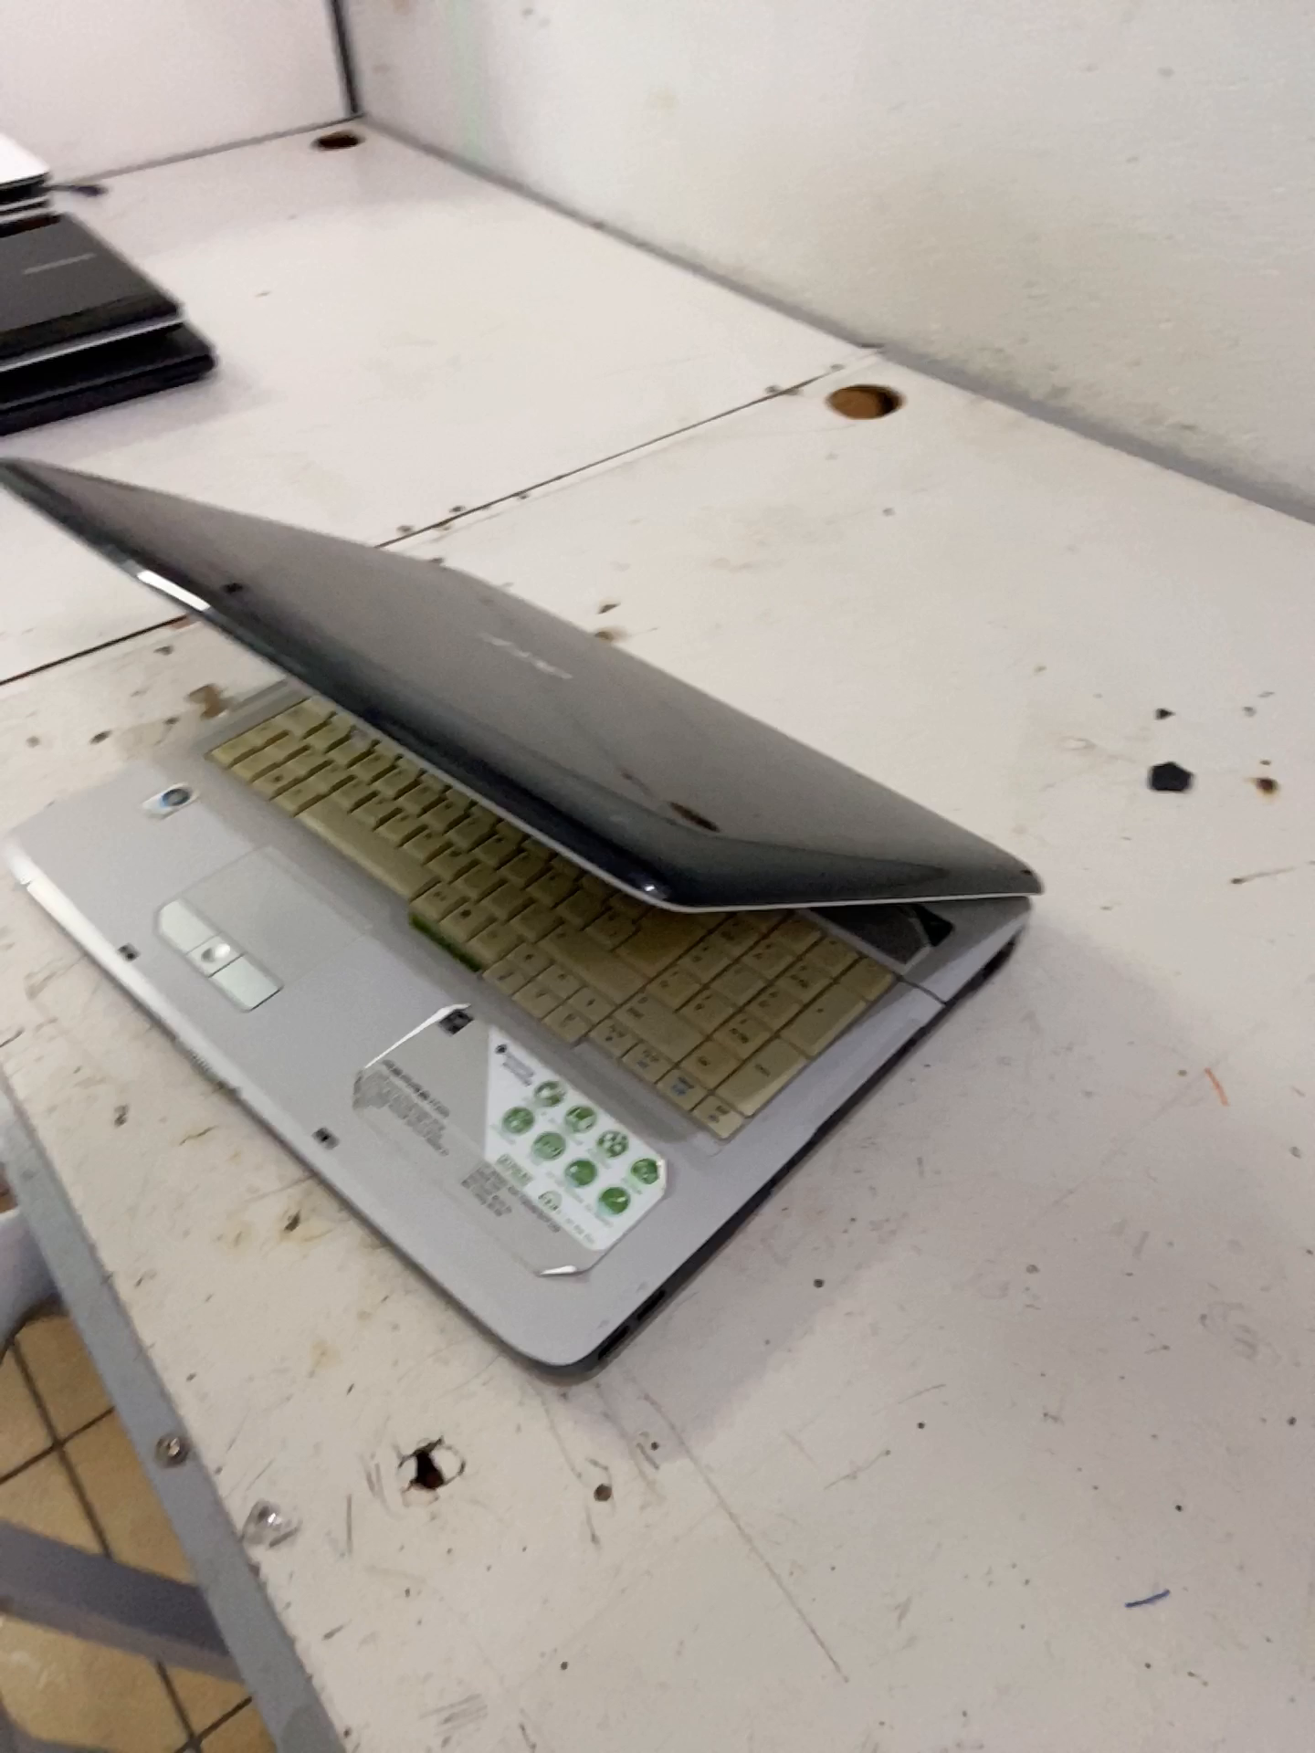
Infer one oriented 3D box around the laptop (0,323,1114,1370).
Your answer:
[{"bbox_3d":[-0.079,-0.058,0.540,0.381,0.164,0.278,31,53,34],"label":"laptop"}]
